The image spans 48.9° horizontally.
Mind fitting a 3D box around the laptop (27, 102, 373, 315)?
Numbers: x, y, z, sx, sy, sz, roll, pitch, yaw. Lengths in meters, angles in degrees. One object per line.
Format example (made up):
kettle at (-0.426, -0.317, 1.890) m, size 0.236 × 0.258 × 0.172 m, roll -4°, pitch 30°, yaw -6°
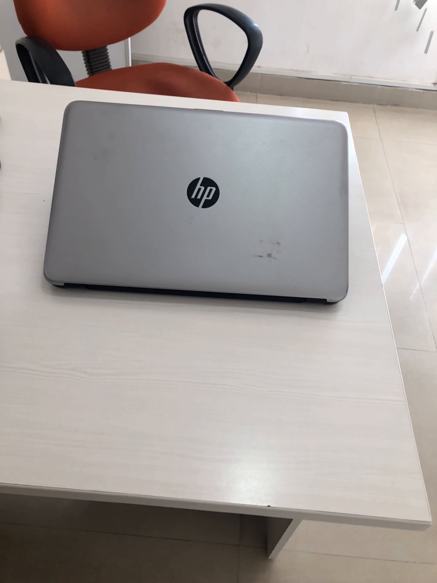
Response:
laptop at (-0.021, -0.118, 0.637) m, size 0.369 × 0.120 × 0.253 m, roll 3°, pitch 50°, yaw -1°
